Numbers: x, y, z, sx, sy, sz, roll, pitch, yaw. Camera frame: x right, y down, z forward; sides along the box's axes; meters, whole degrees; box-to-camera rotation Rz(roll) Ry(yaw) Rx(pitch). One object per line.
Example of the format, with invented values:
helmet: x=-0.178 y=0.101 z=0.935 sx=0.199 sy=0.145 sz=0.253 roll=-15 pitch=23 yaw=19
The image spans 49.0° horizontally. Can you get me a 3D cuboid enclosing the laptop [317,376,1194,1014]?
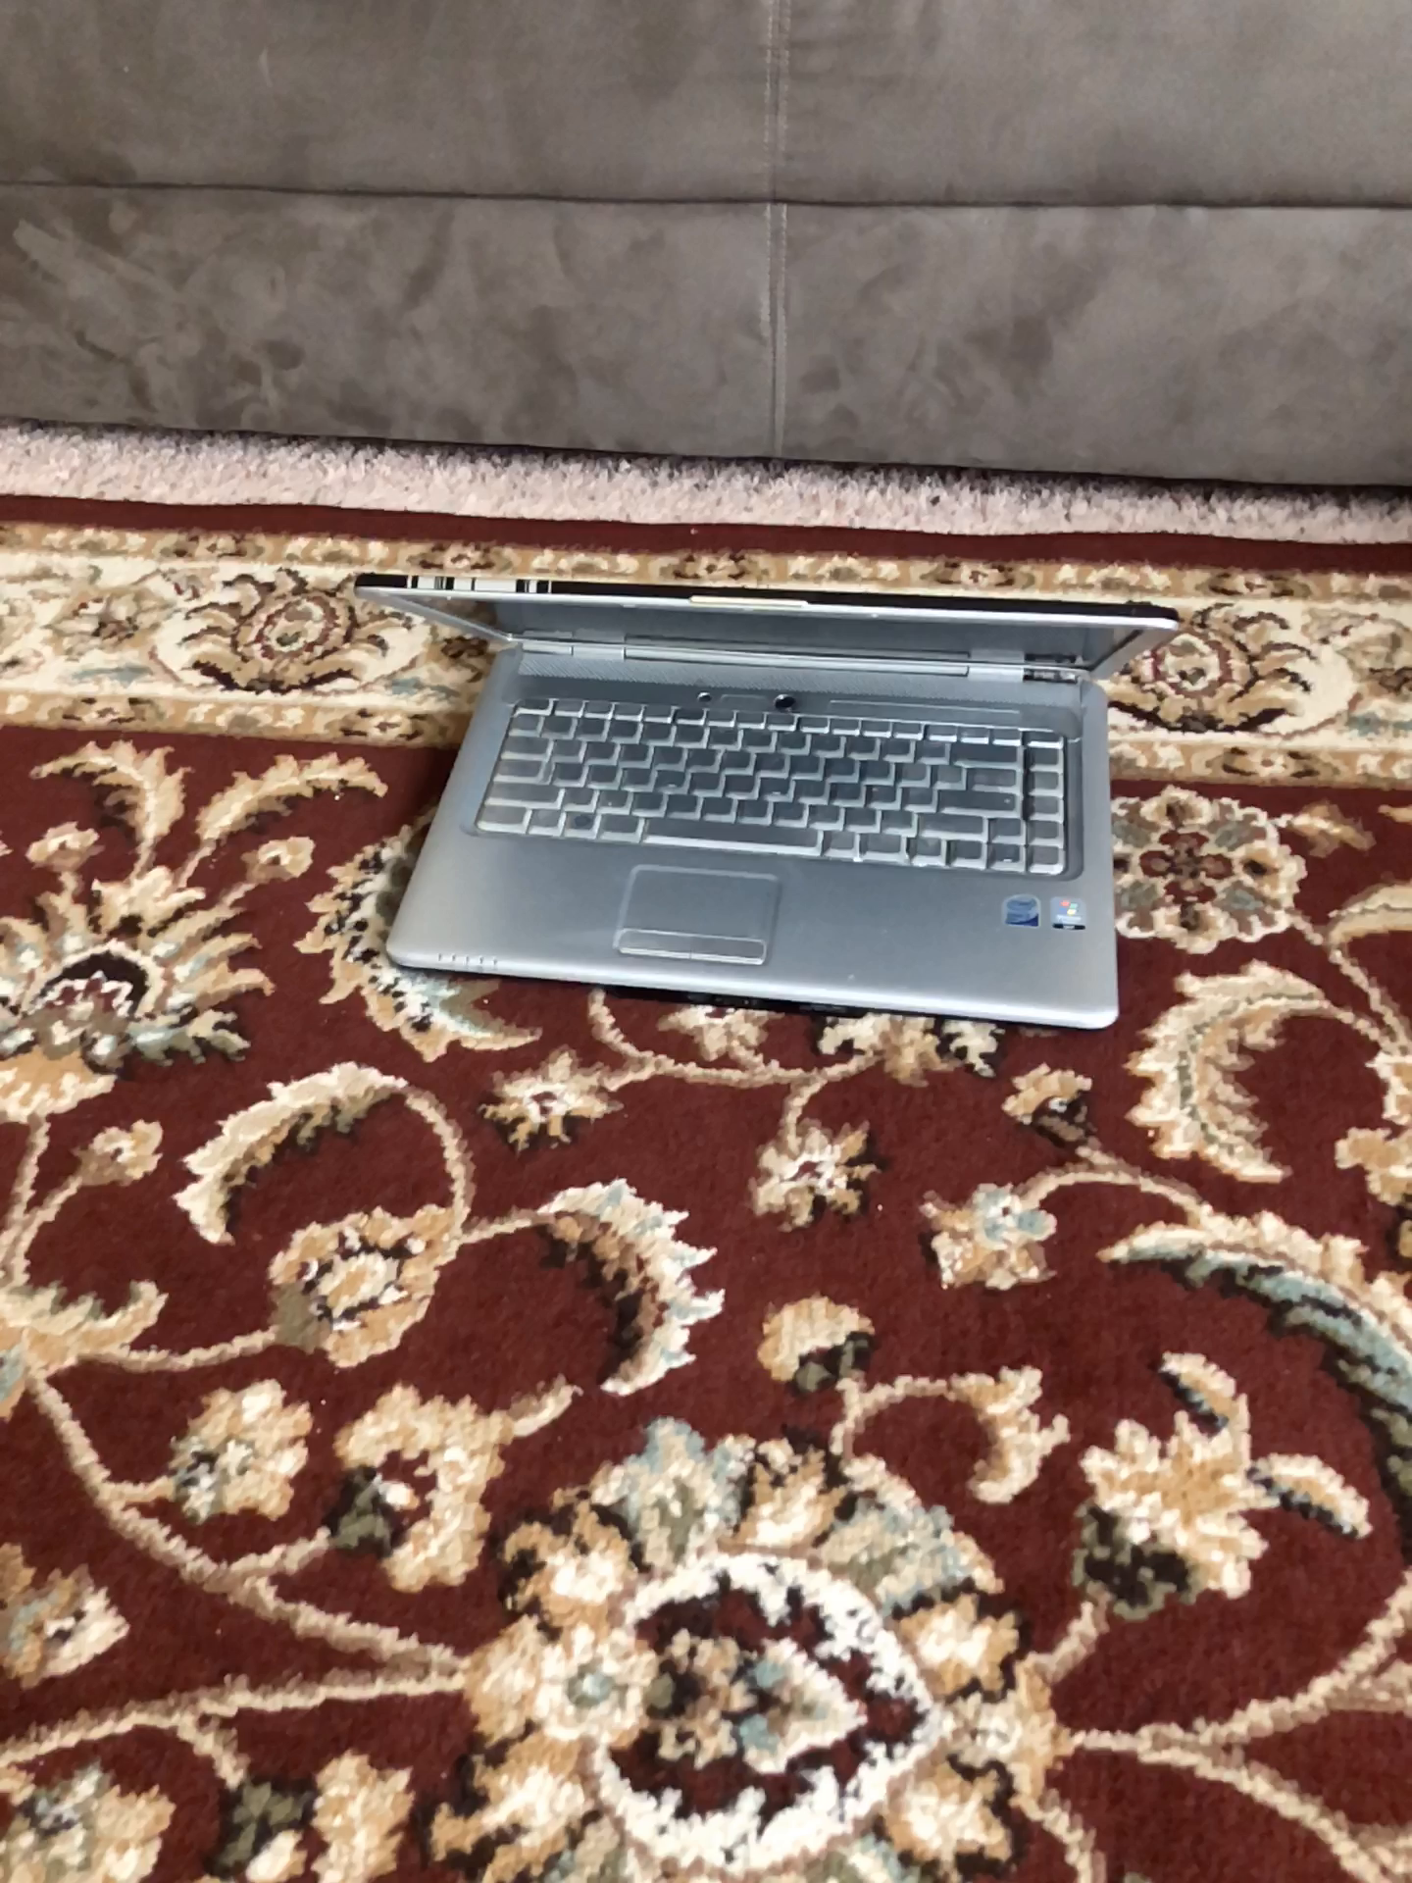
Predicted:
laptop: x=0.034 y=-0.127 z=0.740 sx=0.342 sy=0.164 sz=0.244 roll=5 pitch=47 yaw=7
